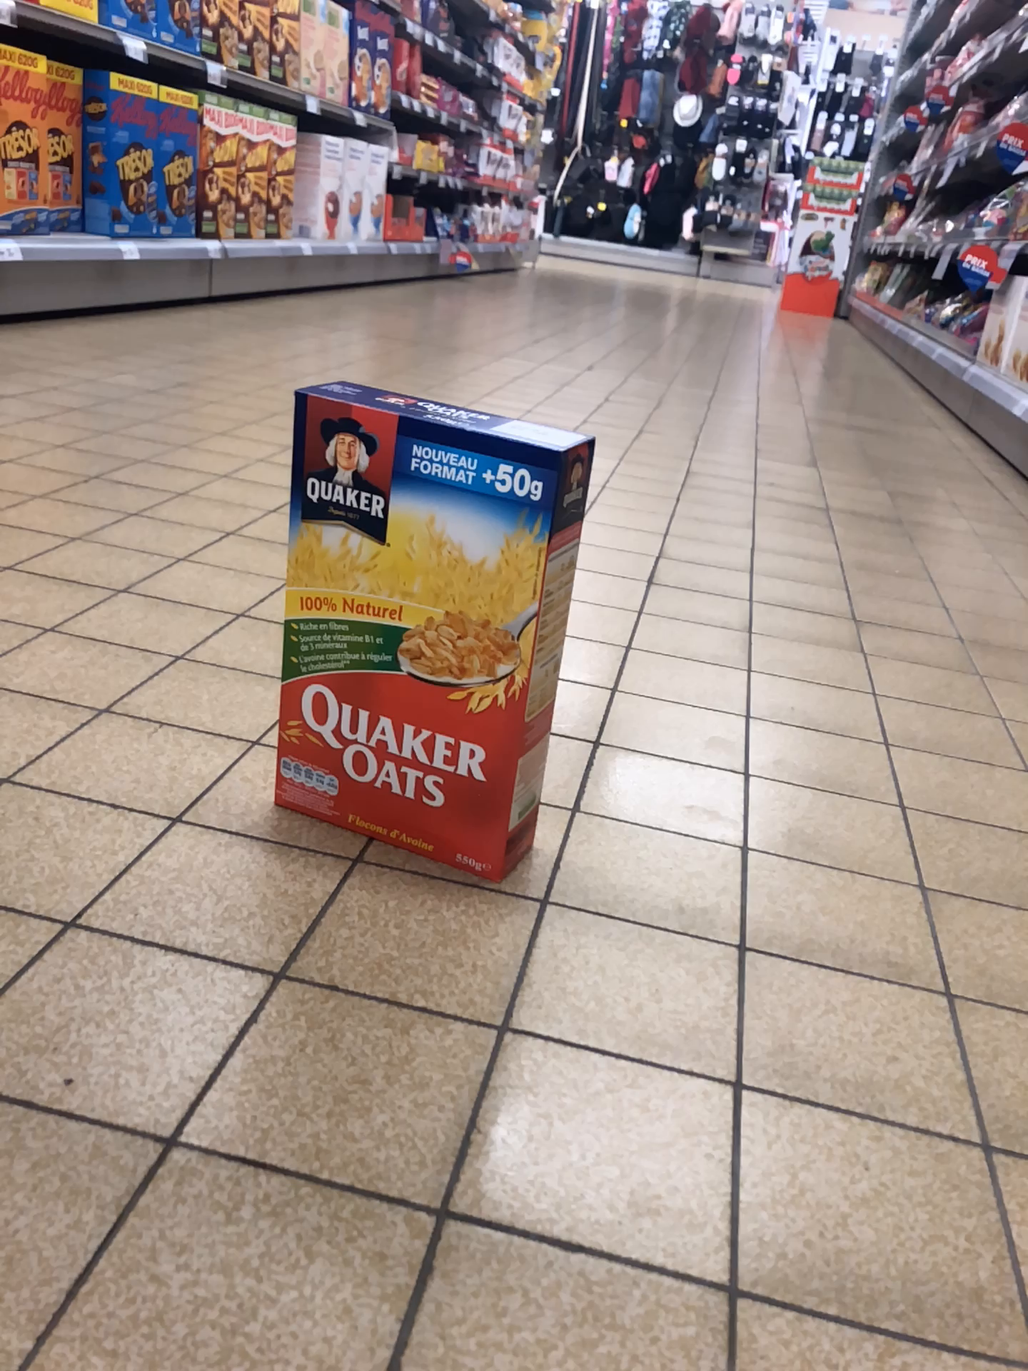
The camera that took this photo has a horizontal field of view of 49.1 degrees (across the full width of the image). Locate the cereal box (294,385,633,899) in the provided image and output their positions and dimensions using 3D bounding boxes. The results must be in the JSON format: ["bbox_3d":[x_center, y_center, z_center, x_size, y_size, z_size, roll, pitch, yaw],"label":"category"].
[{"bbox_3d":[-0.032,-0.023,0.576,0.140,0.229,0.050,17,23,20],"label":"cereal box"}]
